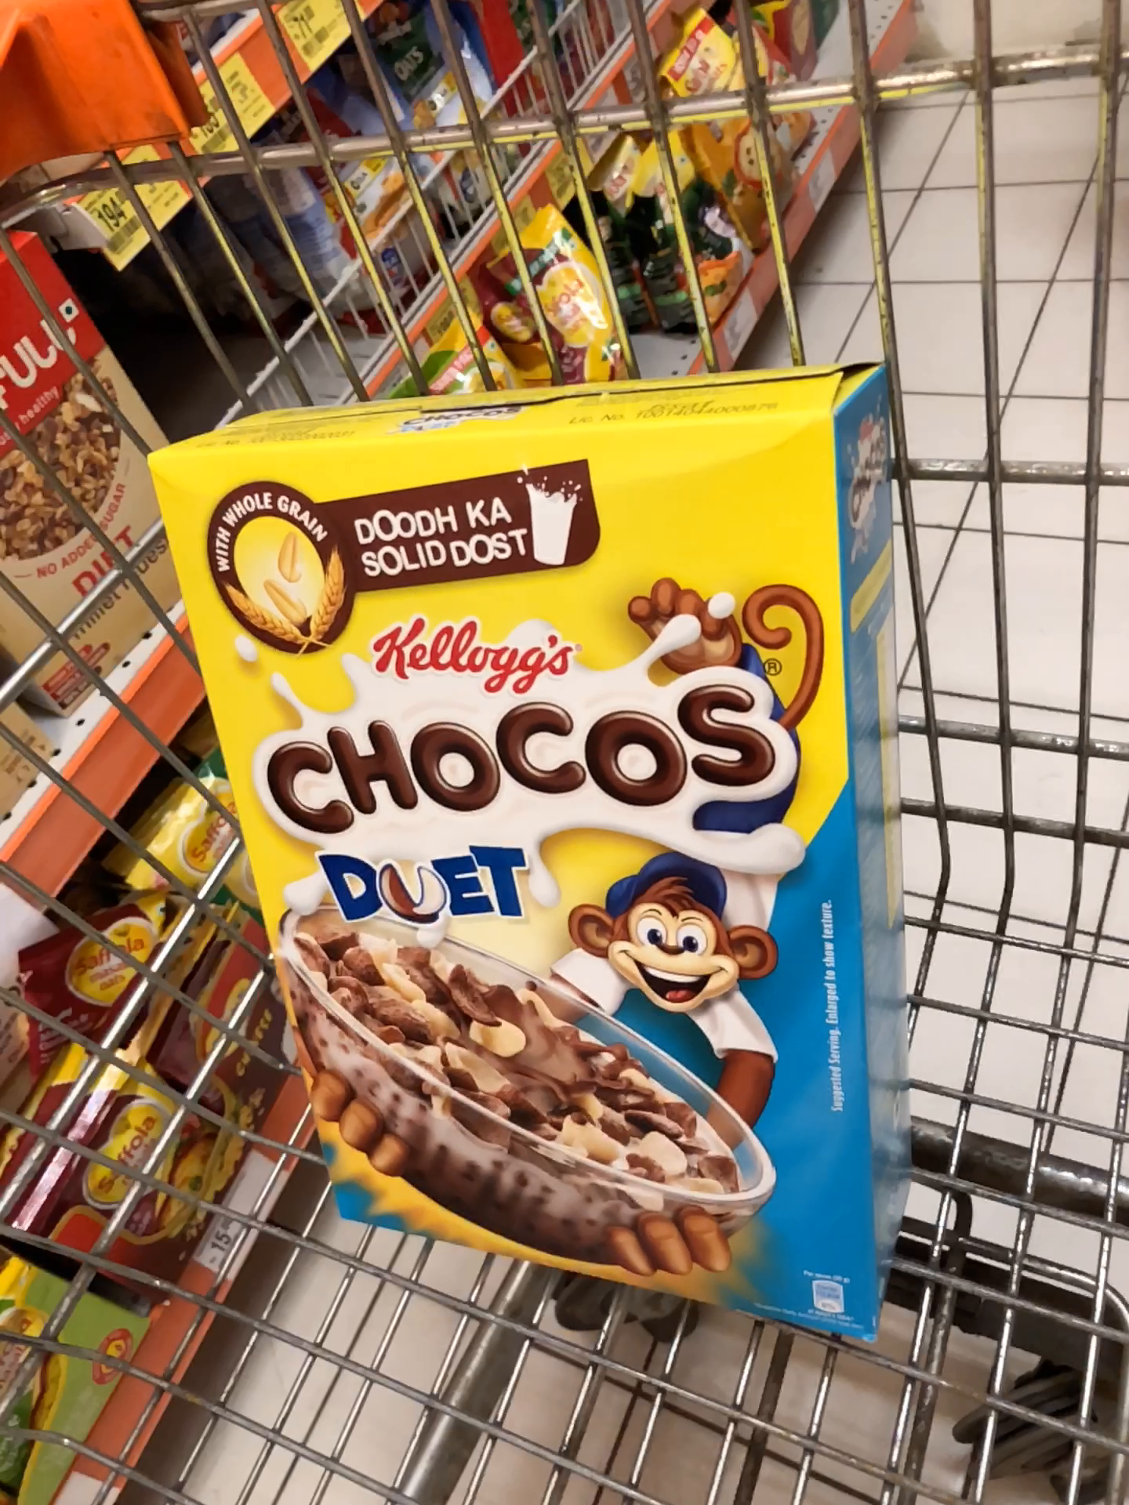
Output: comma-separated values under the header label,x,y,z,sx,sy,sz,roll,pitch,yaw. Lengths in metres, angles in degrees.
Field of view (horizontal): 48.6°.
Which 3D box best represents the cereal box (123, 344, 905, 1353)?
label,x,y,z,sx,sy,sz,roll,pitch,yaw
cereal box,-0.001,0.029,0.361,0.180,0.259,0.070,3,25,24
